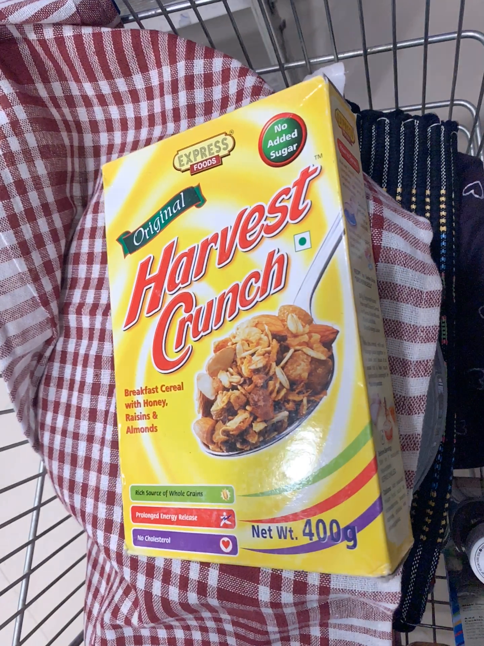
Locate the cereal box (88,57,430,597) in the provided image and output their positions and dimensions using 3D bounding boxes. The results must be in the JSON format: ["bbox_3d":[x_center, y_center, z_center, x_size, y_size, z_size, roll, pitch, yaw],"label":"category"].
[{"bbox_3d":[-0.001,0.007,0.261,0.150,0.050,0.220,-9,83,30],"label":"cereal box"}]
